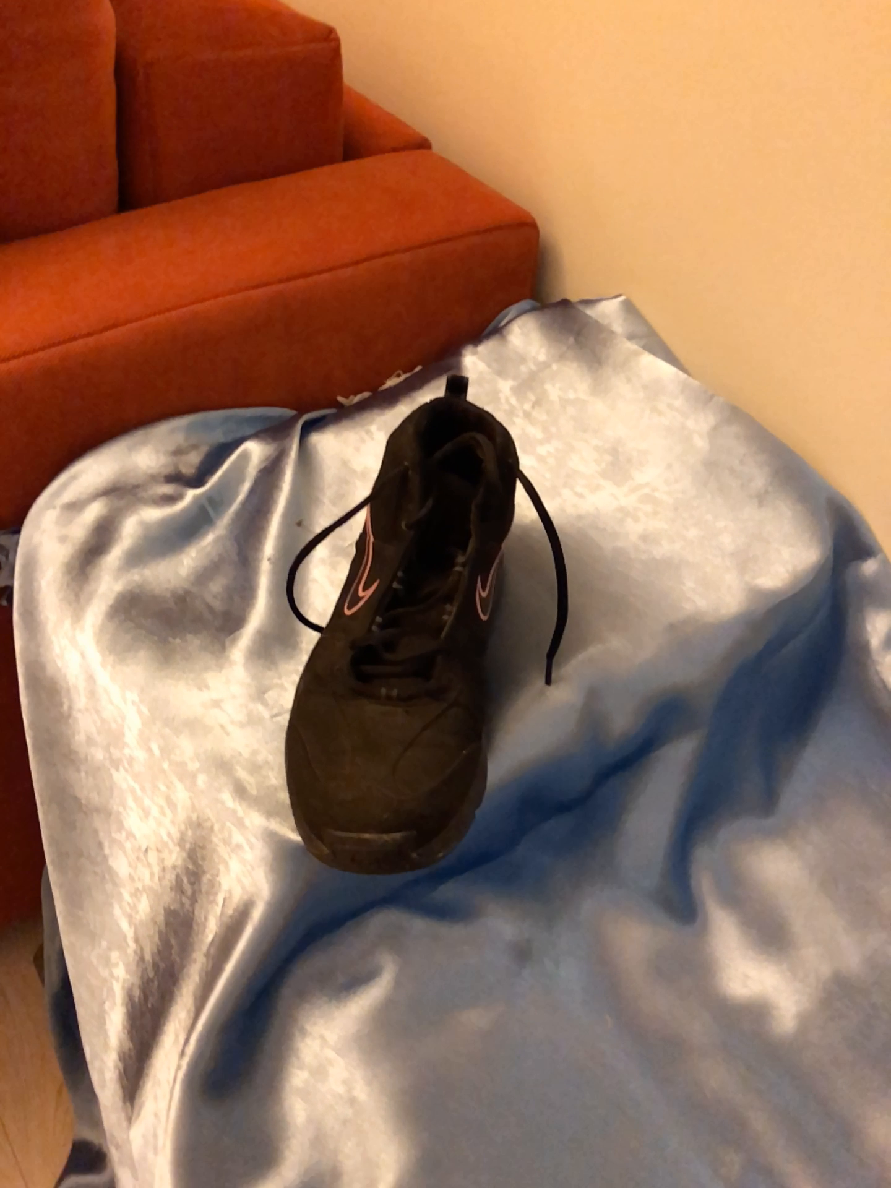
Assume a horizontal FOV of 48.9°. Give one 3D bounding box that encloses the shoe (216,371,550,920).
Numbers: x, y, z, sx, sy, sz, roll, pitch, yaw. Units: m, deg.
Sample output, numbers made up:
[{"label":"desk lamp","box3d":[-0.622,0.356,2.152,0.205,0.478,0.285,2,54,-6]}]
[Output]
[{"label":"shoe","box3d":[-0.018,0.010,0.495,0.107,0.099,0.262,9,47,3]}]
